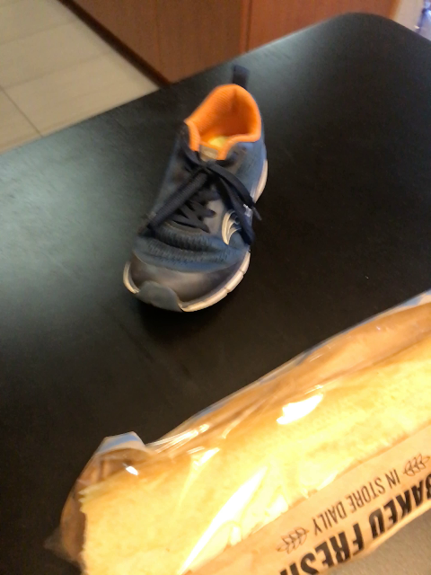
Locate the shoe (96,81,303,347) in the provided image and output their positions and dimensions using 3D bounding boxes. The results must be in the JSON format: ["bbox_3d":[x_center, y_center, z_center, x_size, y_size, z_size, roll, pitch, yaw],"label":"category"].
[{"bbox_3d":[-0.002,-0.064,0.357,0.084,0.072,0.187,17,57,9],"label":"shoe"}]
